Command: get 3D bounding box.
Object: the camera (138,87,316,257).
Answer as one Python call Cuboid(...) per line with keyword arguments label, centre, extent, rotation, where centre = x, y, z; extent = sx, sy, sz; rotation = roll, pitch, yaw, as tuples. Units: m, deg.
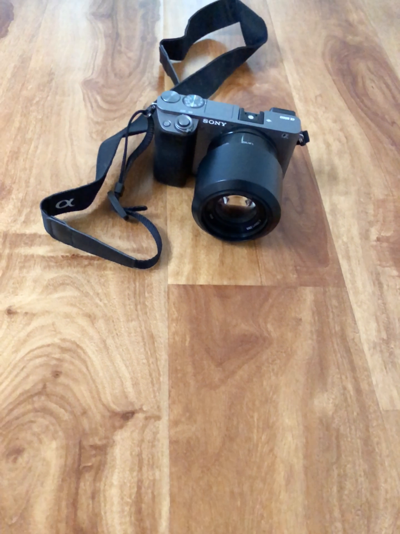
Cuboid(label="camera", centre=(0.022, -0.083, 0.381), extent=(0.130, 0.070, 0.110), rotation=(9, 53, -2))
